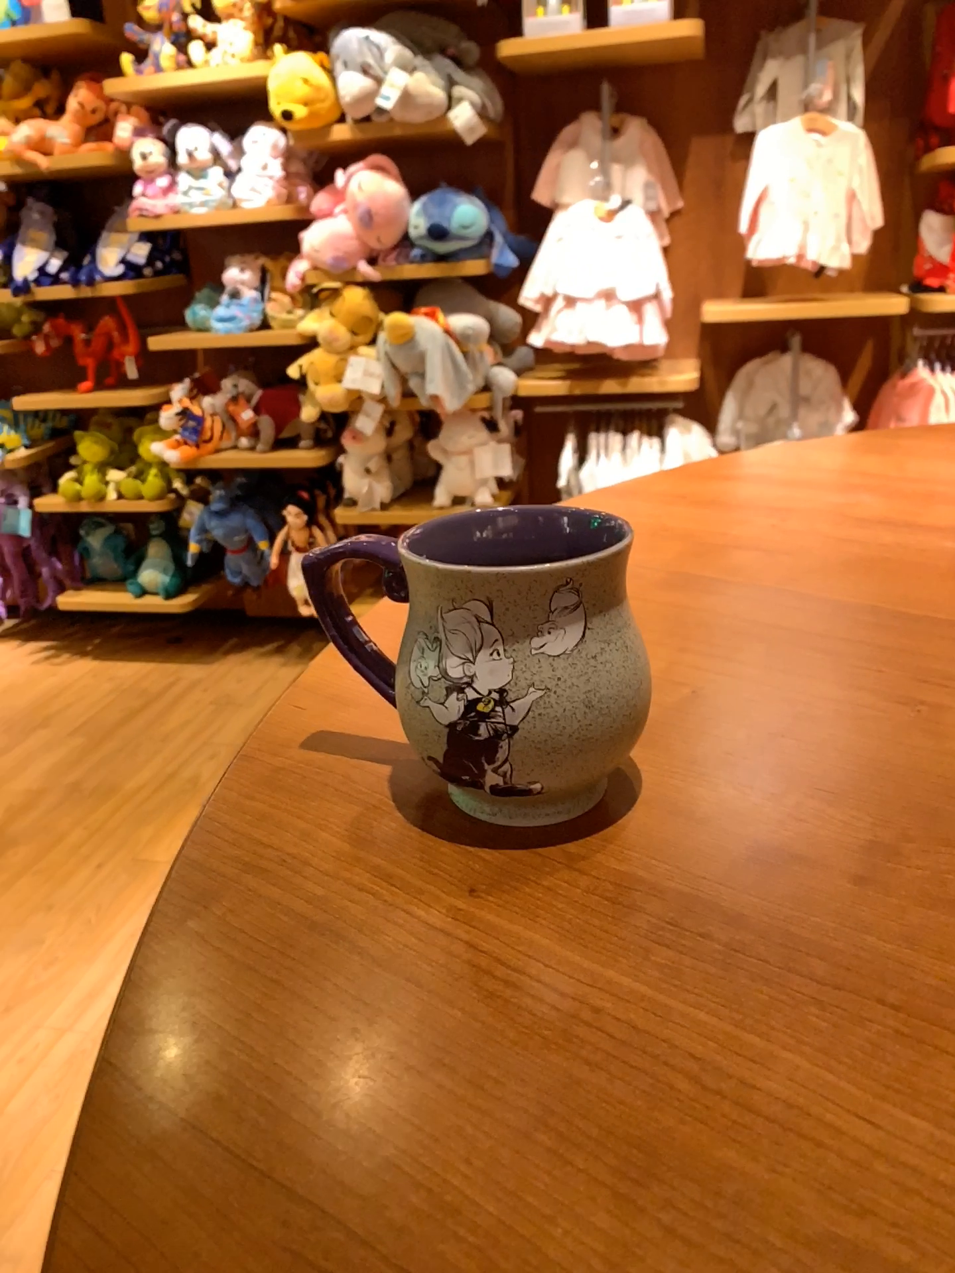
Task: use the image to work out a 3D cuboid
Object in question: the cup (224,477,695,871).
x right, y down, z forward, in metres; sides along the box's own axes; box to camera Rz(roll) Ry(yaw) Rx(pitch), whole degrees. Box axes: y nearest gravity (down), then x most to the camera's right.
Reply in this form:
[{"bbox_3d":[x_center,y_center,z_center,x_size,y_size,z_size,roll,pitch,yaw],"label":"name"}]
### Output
[{"bbox_3d":[-0.002,0.002,0.391,0.140,0.099,0.115,9,24,31],"label":"cup"}]
